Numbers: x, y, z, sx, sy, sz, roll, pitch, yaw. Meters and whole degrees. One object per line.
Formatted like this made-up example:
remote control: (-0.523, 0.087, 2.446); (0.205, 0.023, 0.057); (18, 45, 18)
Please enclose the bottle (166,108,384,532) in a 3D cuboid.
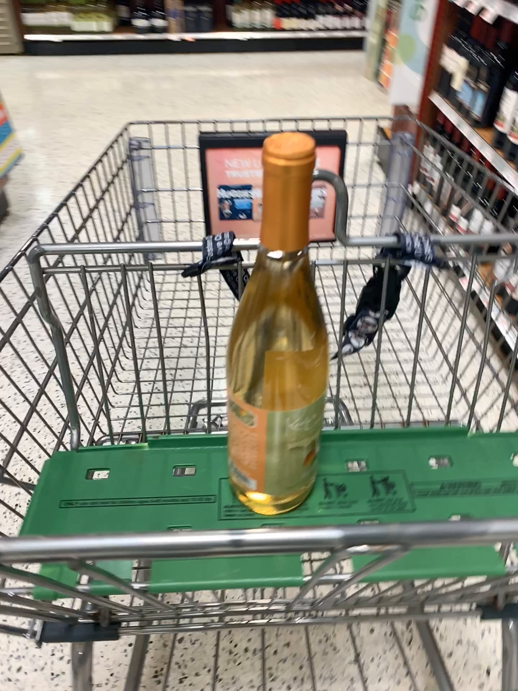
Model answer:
bottle: (0.006, 0.002, 0.387); (0.087, 0.297, 0.084); (1, 41, -1)
